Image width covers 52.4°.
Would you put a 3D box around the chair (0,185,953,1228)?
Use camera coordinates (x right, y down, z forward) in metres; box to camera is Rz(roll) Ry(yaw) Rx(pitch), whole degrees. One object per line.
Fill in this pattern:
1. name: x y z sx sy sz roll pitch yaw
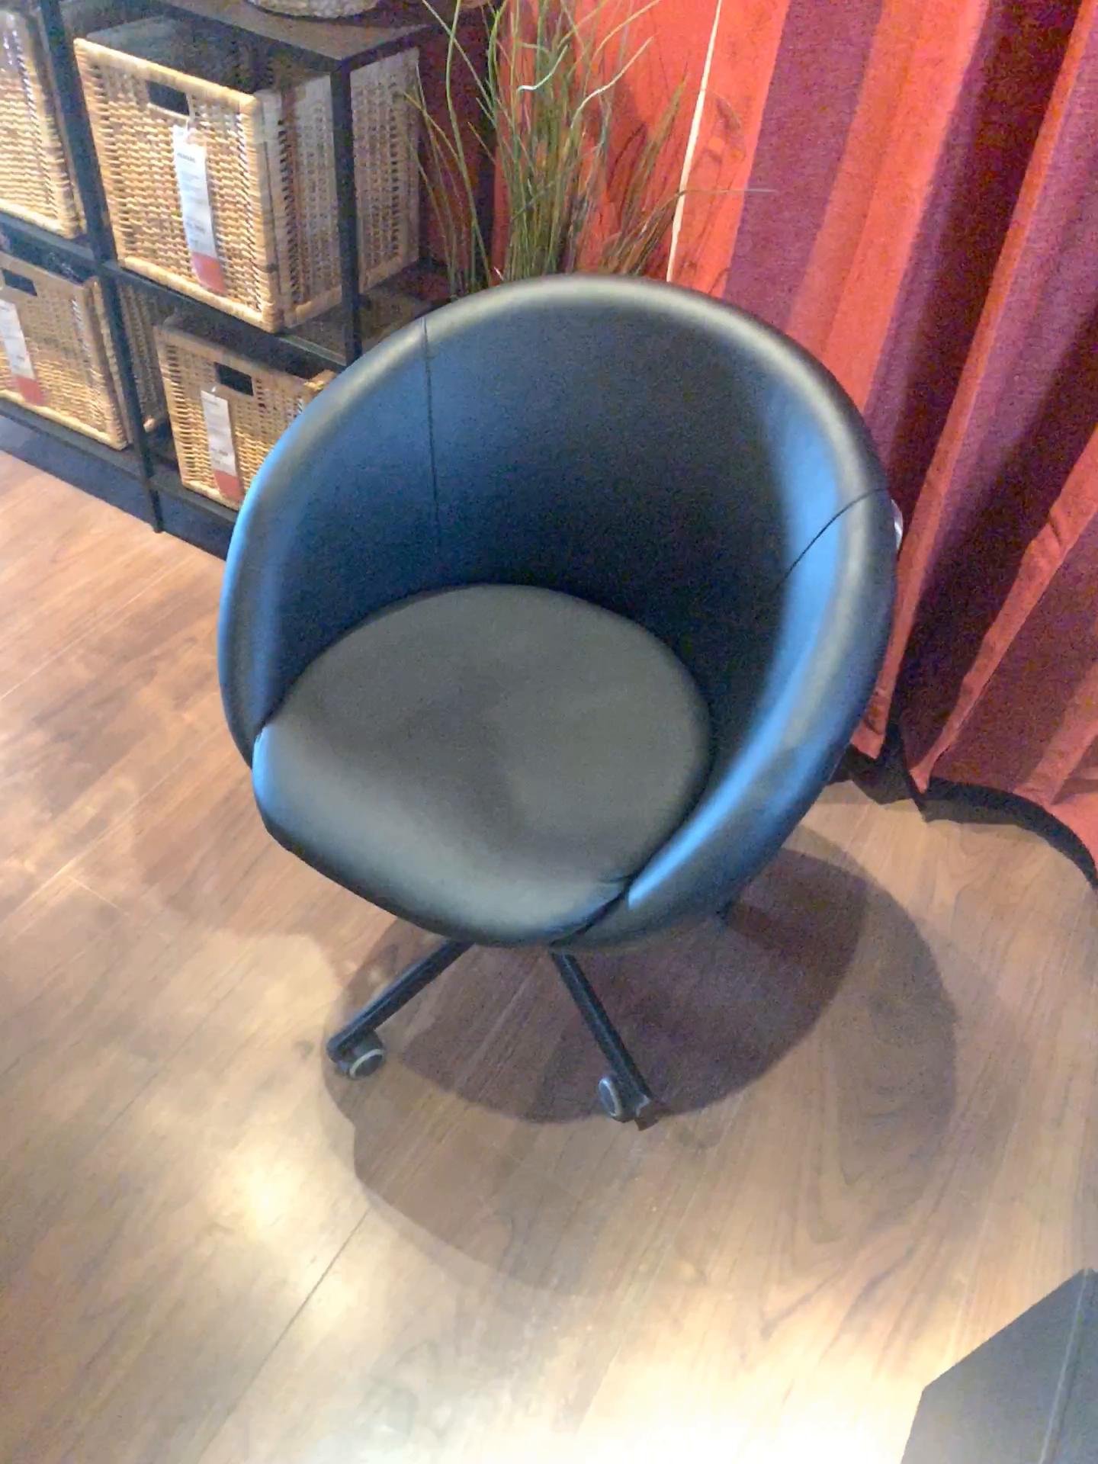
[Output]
1. chair: -0.067 -0.021 1.139 0.620 0.698 0.582 21 49 12
